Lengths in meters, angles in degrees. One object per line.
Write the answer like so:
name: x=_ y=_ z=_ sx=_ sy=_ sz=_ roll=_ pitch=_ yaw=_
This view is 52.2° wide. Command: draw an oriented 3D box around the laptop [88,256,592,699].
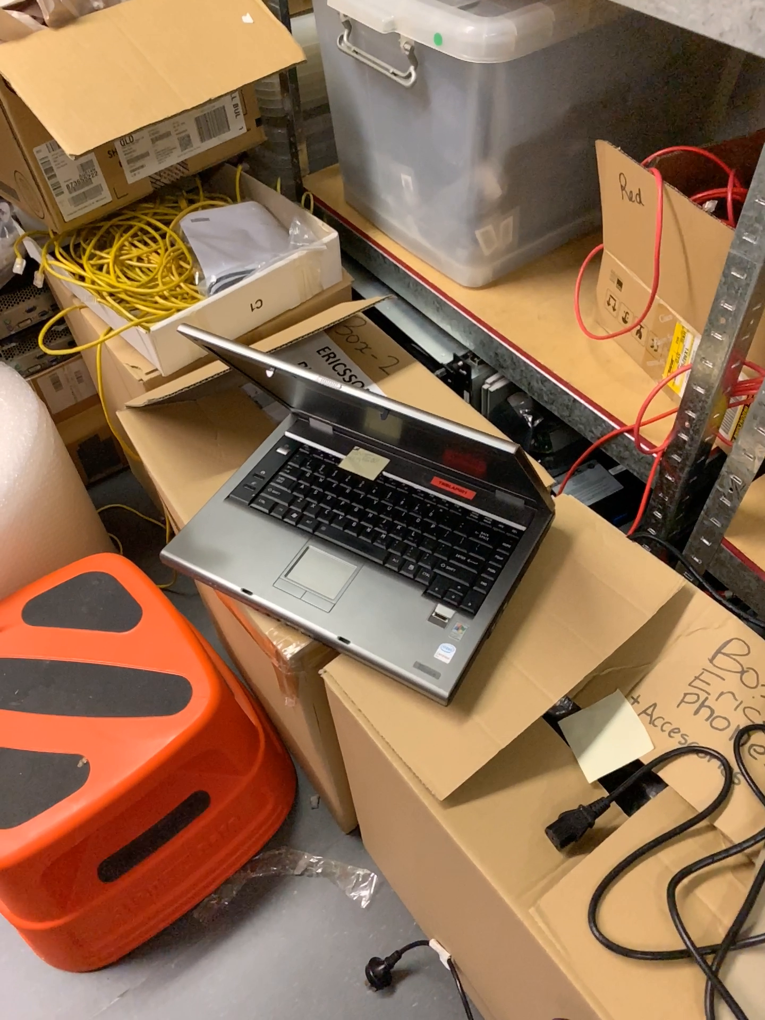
laptop: x=-0.031 y=-0.047 z=0.775 sx=0.361 sy=0.238 sz=0.262 roll=22 pitch=54 yaw=21
